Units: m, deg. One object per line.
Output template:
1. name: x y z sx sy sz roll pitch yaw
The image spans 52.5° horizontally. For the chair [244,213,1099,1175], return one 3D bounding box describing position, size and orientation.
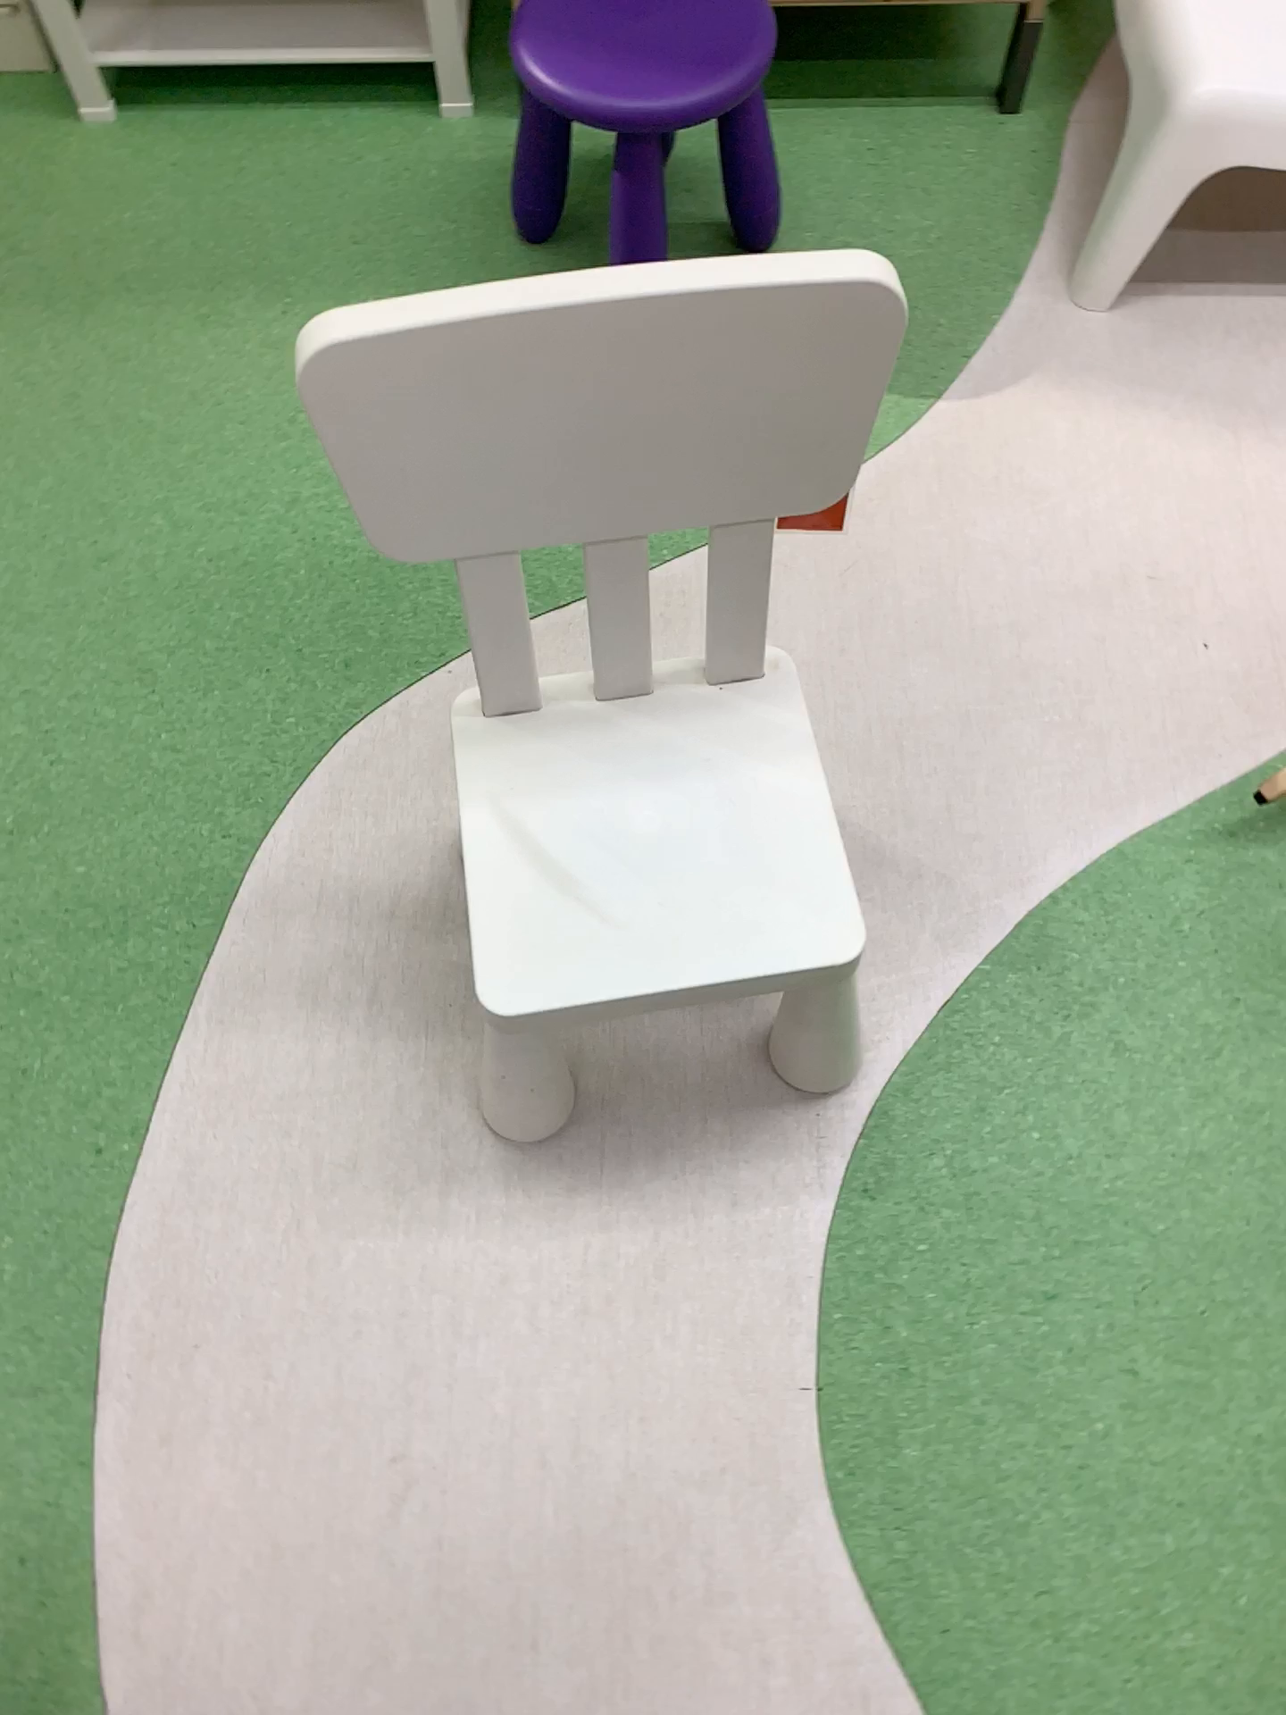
1. chair: -0.007 -0.063 1.008 0.420 0.599 0.440 -8 66 -3
